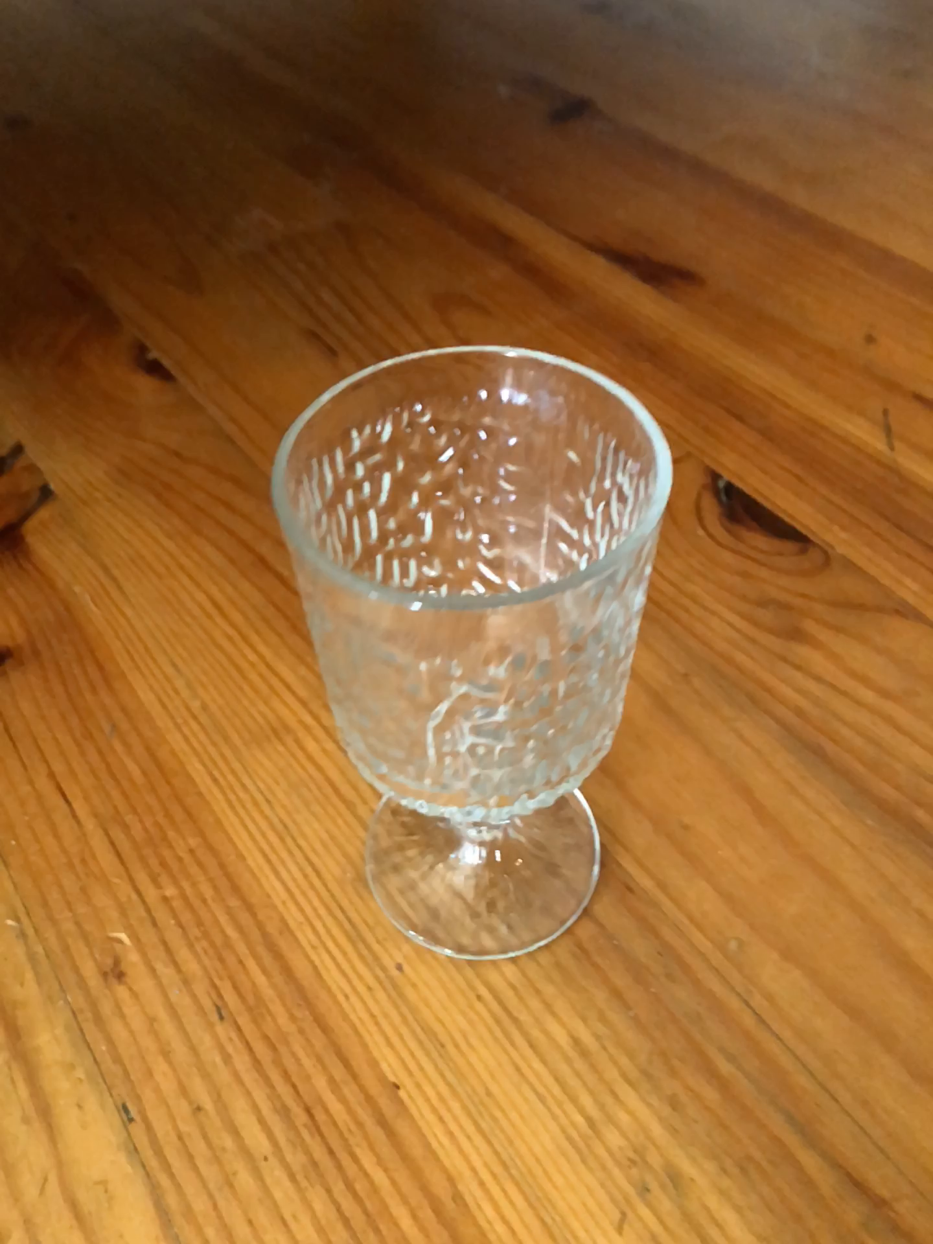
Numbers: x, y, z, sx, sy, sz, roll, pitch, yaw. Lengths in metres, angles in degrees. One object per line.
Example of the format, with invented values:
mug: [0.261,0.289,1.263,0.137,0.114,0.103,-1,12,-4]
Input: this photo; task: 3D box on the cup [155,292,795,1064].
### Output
cup: [0.001,0.017,0.233,0.082,0.134,0.081,-1,48,1]
